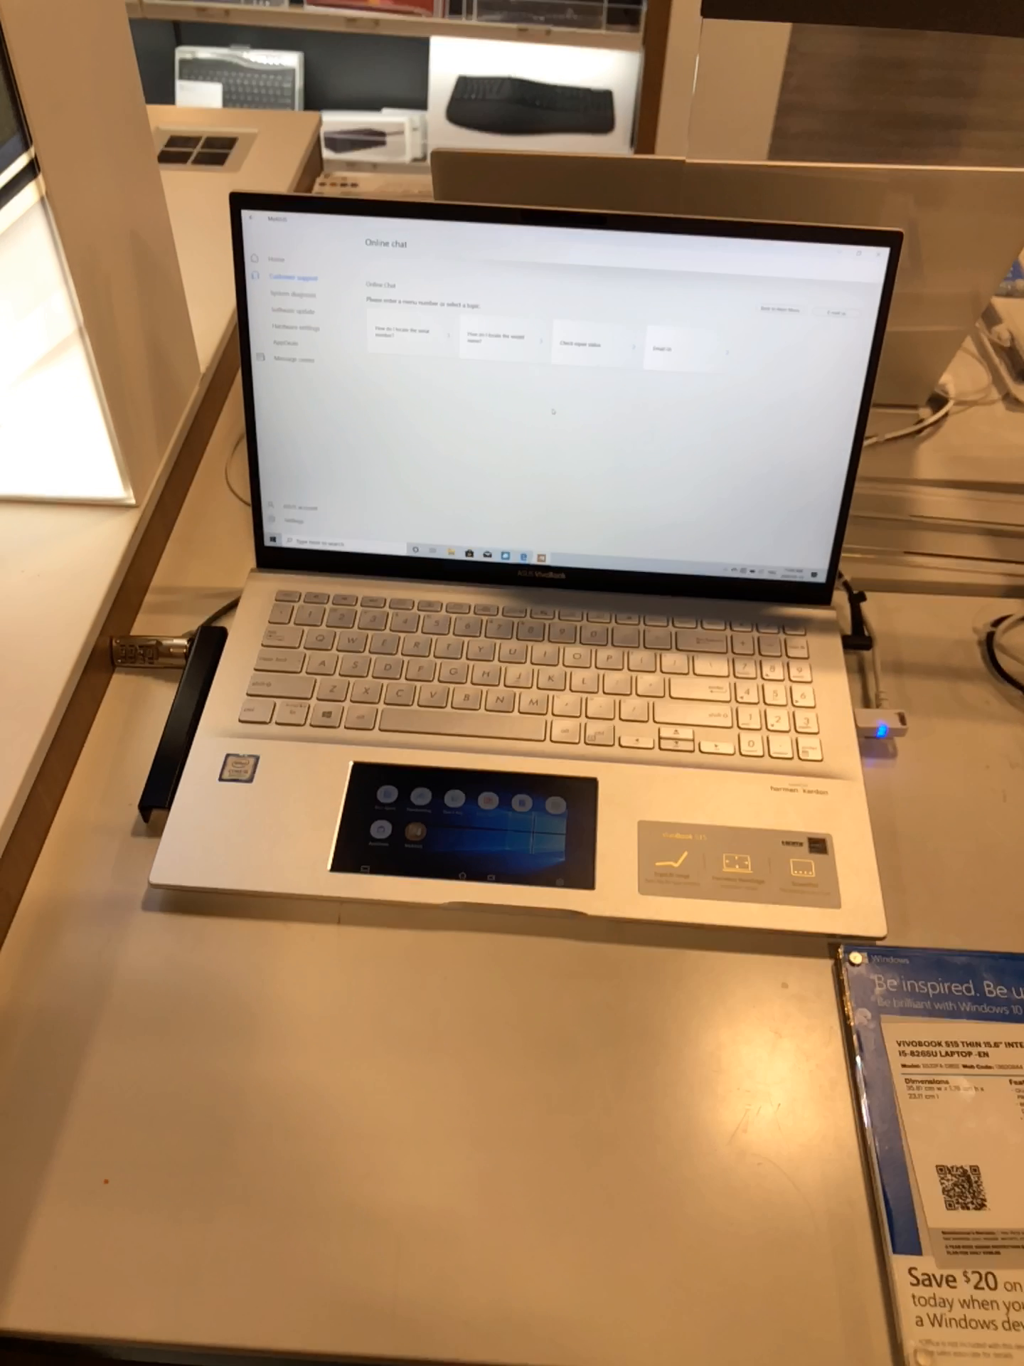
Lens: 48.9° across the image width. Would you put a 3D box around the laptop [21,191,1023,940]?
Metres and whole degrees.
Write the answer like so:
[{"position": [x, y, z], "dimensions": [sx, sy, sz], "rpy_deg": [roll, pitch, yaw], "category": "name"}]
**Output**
[{"position": [0.012, -0.067, 0.532], "dimensions": [0.330, 0.189, 0.285], "rpy_deg": [4, 47, 2], "category": "laptop"}]
